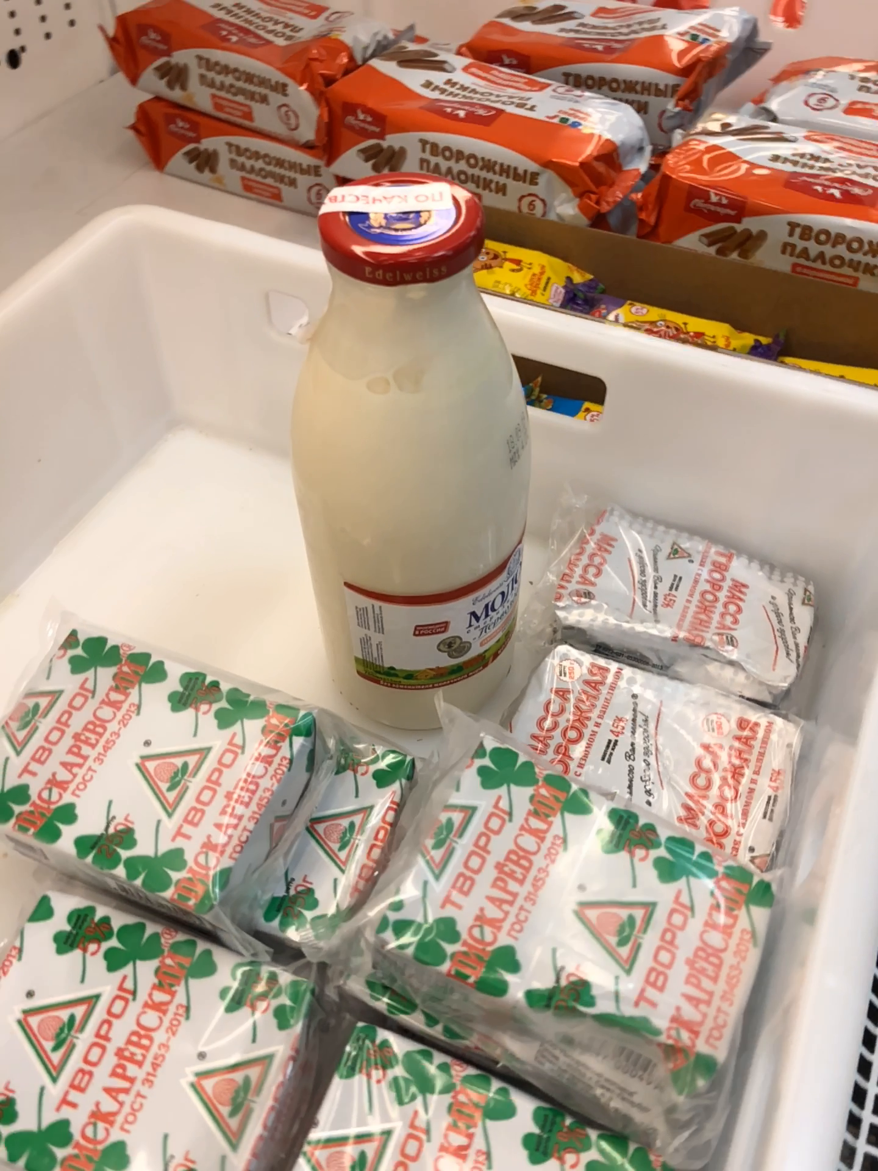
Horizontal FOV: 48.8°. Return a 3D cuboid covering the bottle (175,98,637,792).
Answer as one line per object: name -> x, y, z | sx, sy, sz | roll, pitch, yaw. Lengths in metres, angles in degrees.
bottle -> -0.006, -0.035, 0.336 | 0.090, 0.209, 0.090 | 0, 49, 0
